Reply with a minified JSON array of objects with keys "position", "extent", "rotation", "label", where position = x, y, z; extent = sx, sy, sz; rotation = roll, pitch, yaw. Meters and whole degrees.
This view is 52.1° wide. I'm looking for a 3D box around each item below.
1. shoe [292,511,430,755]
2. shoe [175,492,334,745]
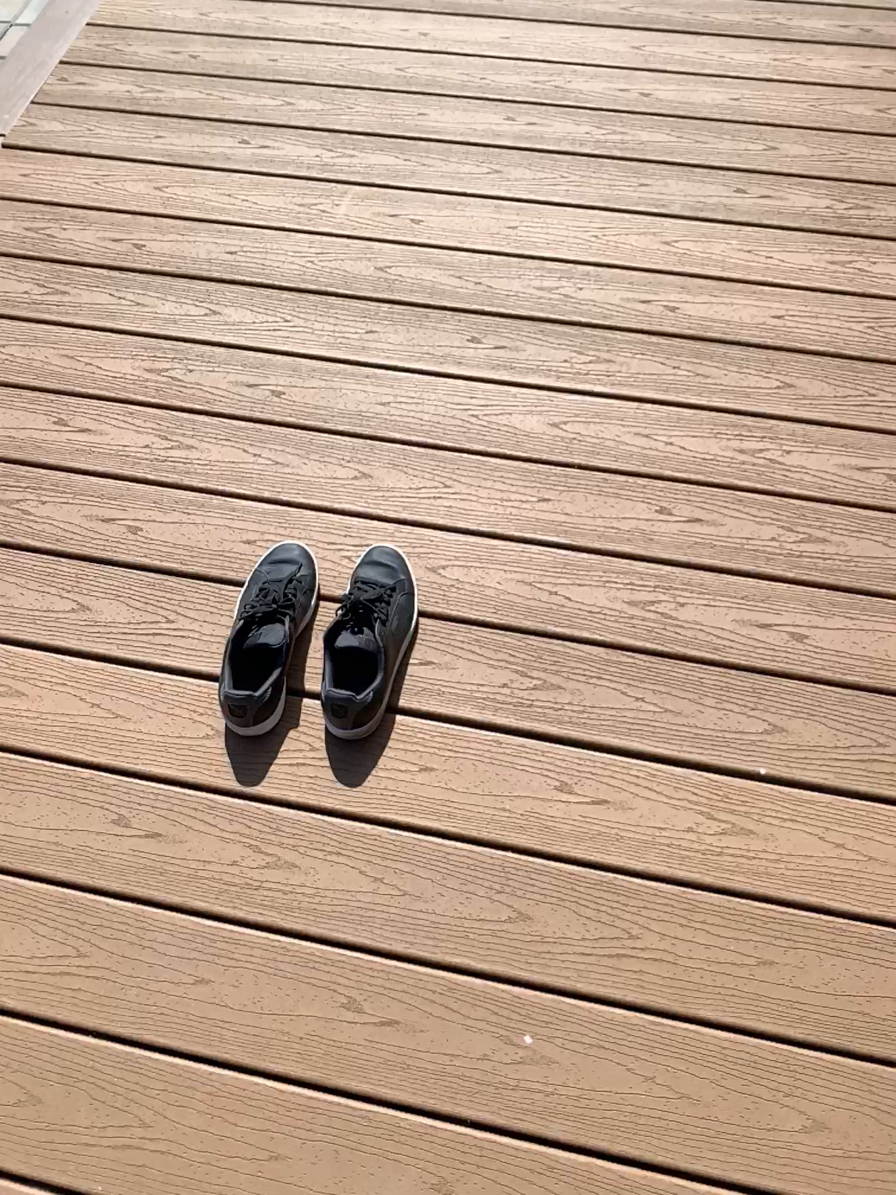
[{"position":[-0.101,0.041,1.154],"extent":[0.110,0.104,0.281],"rotation":[6,61,6],"label":"shoe"},{"position":[-0.239,0.022,1.179],"extent":[0.112,0.107,0.301],"rotation":[6,61,6],"label":"shoe"}]
